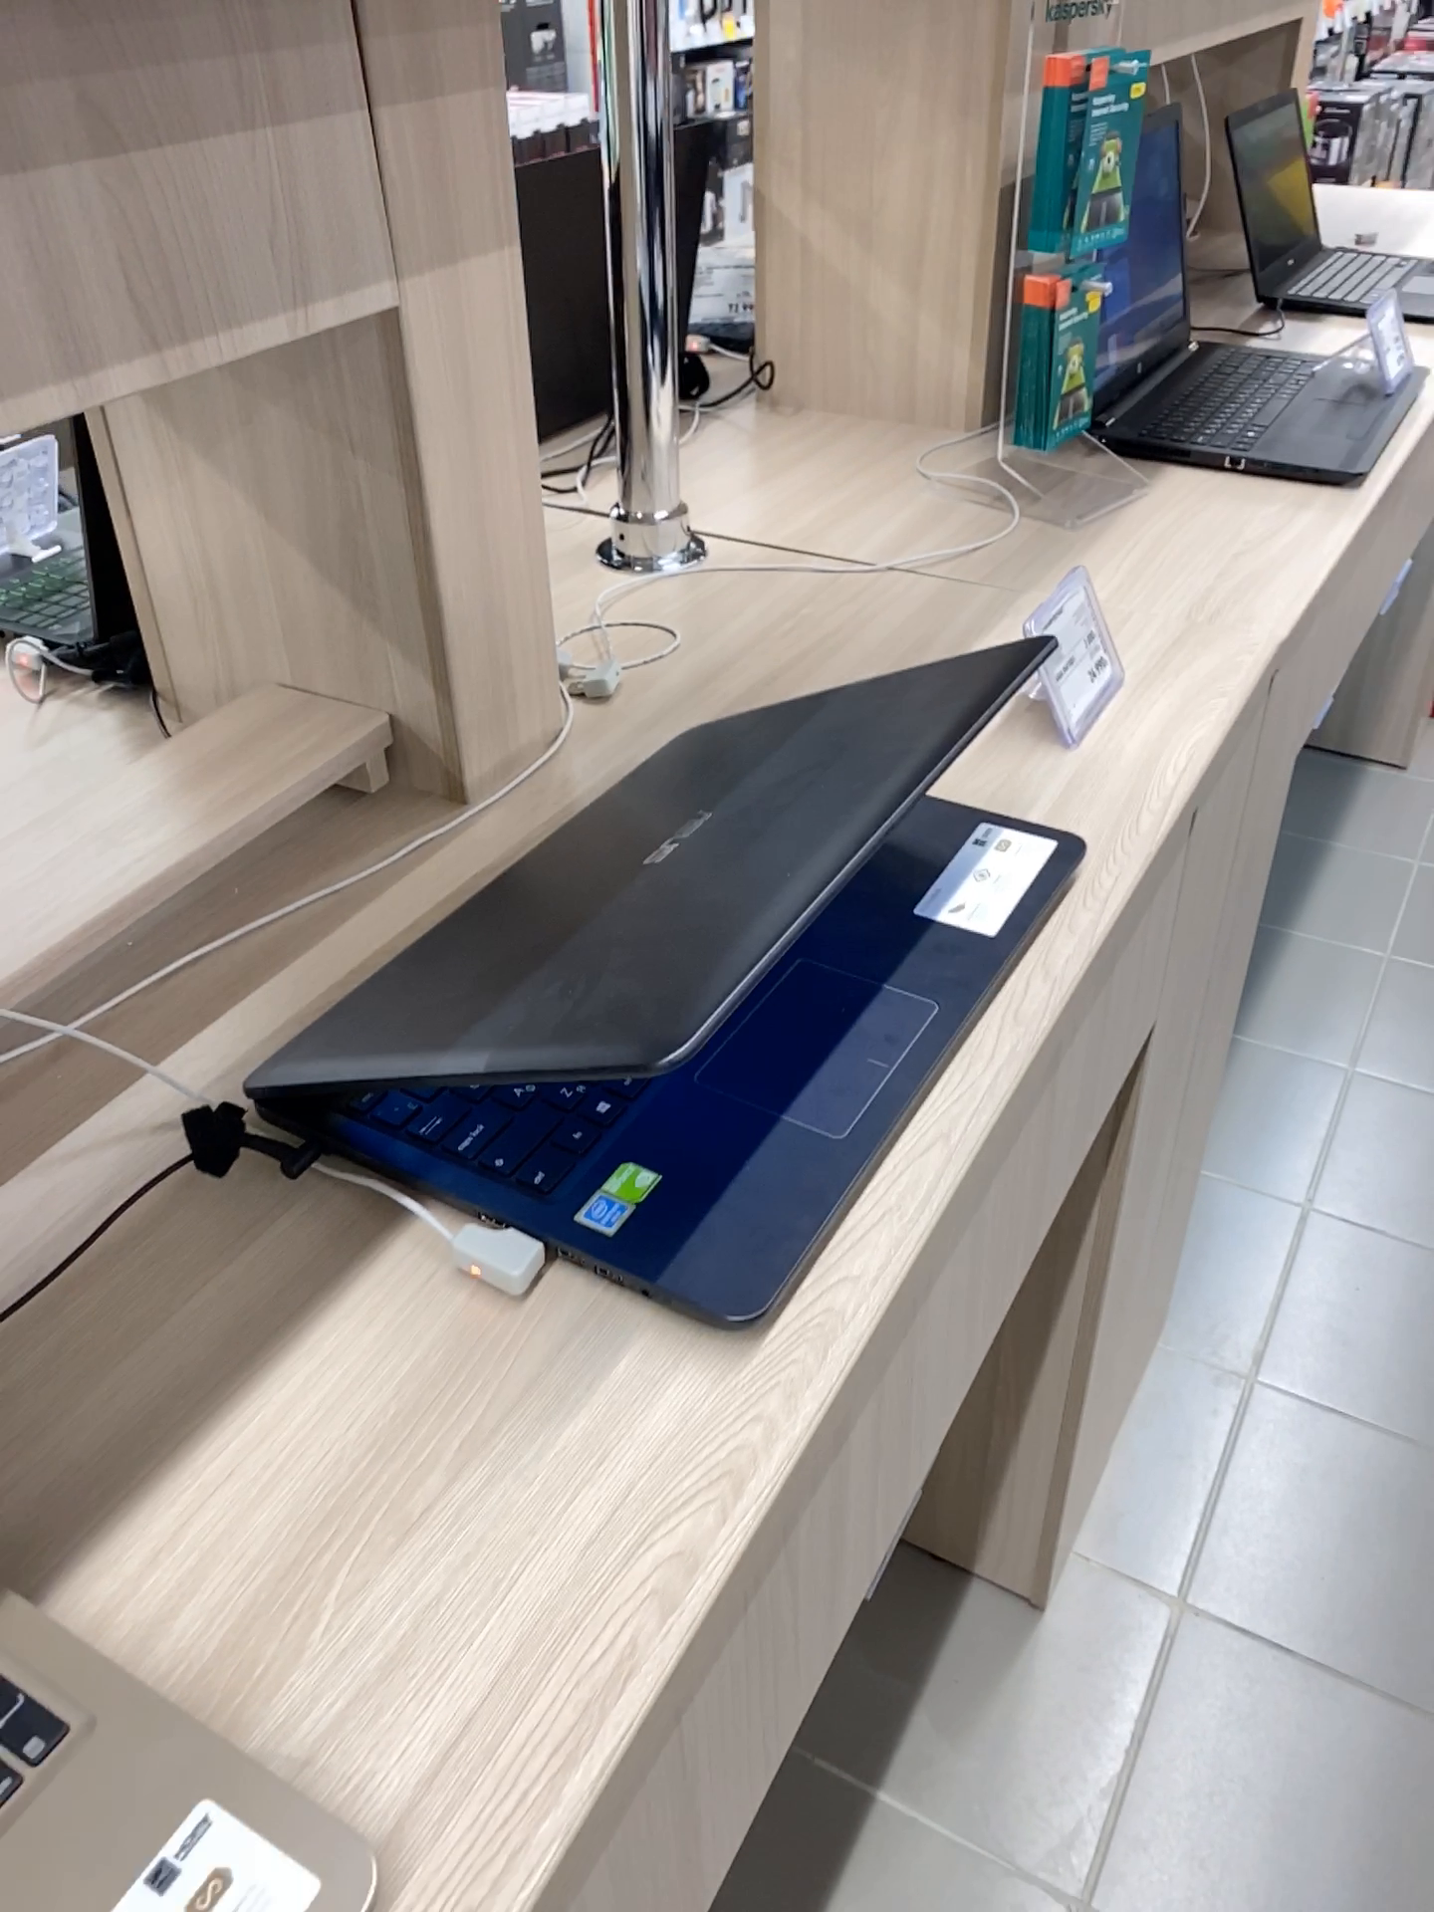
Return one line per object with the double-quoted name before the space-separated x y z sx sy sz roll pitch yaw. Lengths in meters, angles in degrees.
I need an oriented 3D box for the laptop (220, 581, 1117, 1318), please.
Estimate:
"laptop" 0.007 -0.043 0.682 0.236 0.098 0.387 19 39 24
